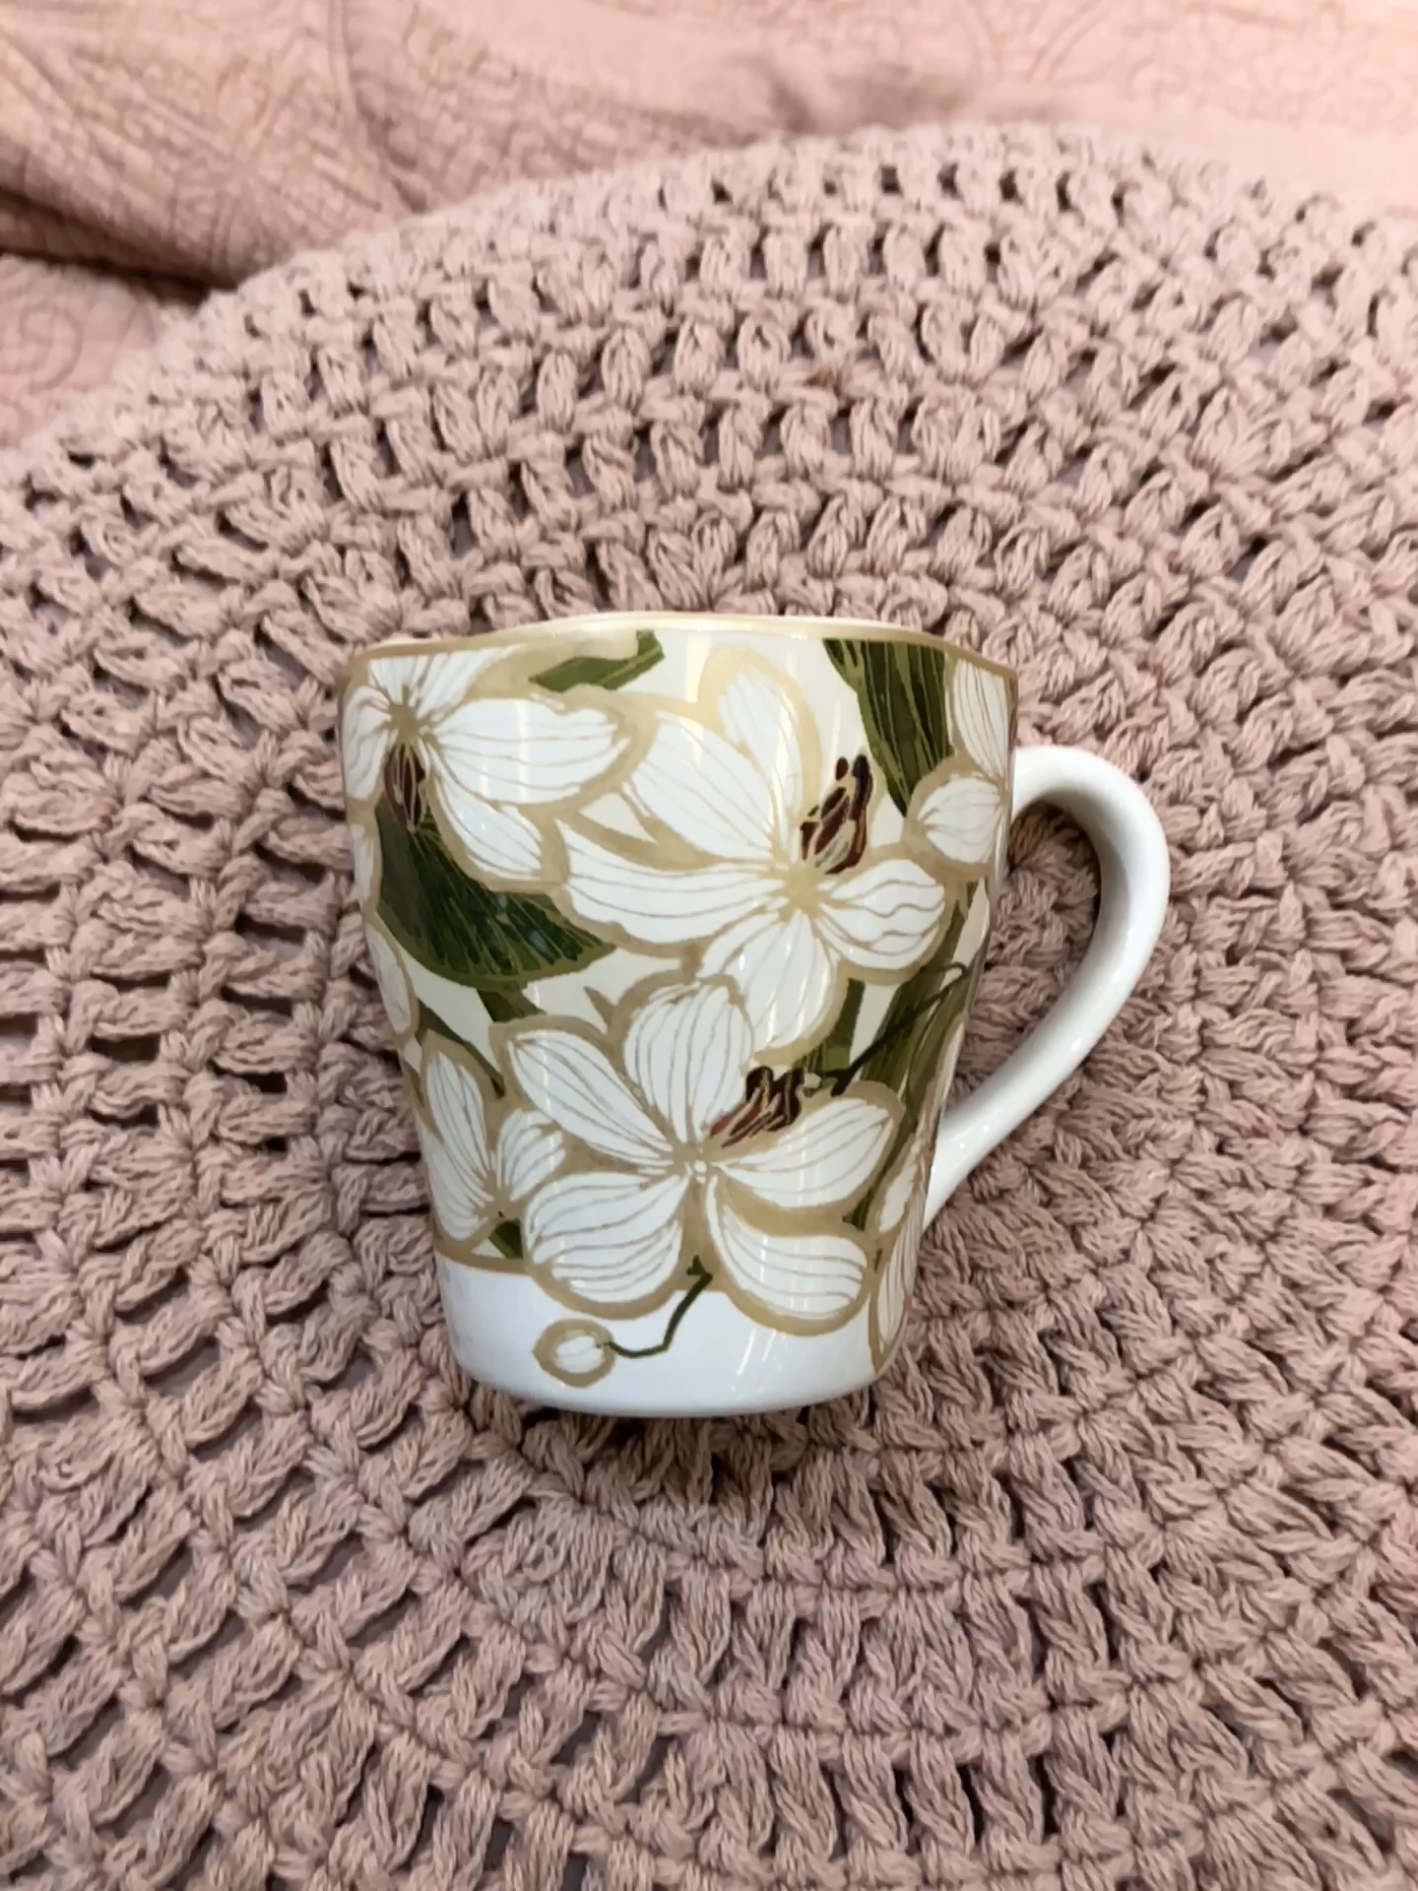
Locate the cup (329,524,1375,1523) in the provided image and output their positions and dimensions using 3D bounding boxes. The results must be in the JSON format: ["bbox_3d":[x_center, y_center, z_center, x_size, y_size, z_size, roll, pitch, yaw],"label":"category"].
[{"bbox_3d":[0.014,0.008,0.251,0.140,0.090,0.120,-2,90,-14],"label":"cup"}]
